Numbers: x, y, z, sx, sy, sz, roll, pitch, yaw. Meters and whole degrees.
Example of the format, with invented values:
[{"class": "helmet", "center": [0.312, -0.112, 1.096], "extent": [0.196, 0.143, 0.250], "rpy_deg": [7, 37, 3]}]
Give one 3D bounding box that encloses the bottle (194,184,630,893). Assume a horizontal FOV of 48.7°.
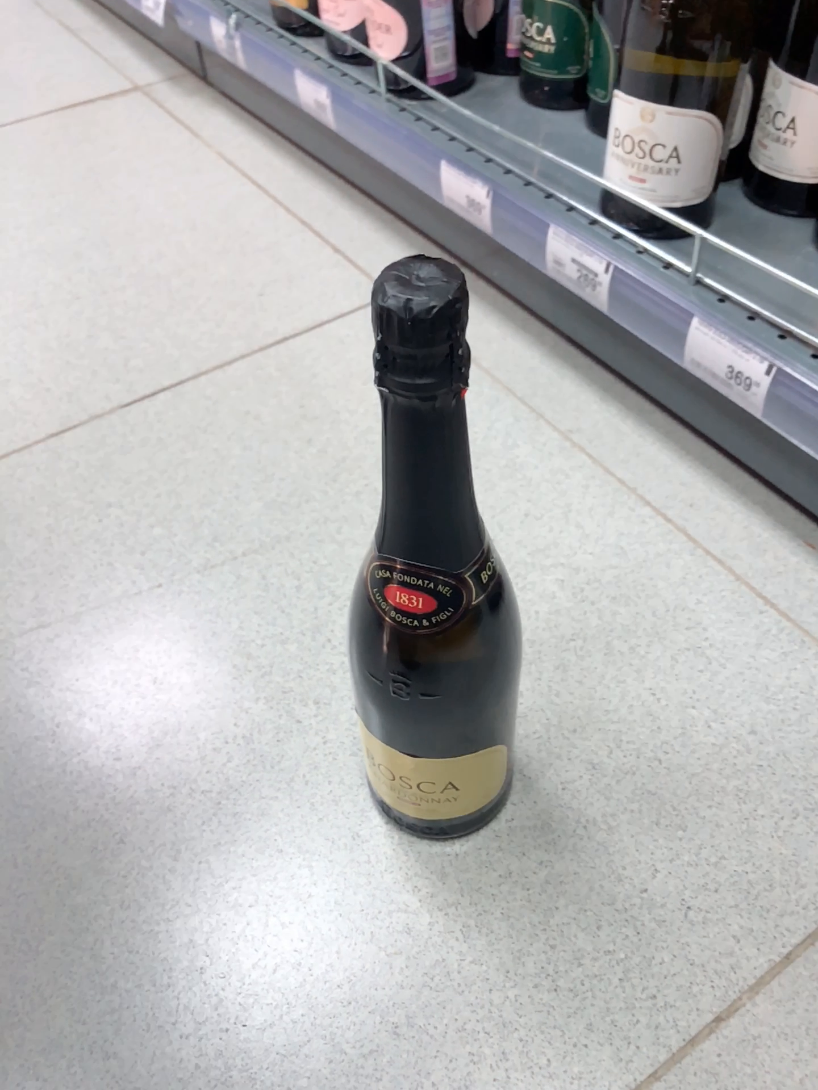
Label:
[{"class": "bottle", "center": [0.010, 0.025, 0.388], "extent": [0.100, 0.311, 0.090], "rpy_deg": [22, 53, 22]}]
